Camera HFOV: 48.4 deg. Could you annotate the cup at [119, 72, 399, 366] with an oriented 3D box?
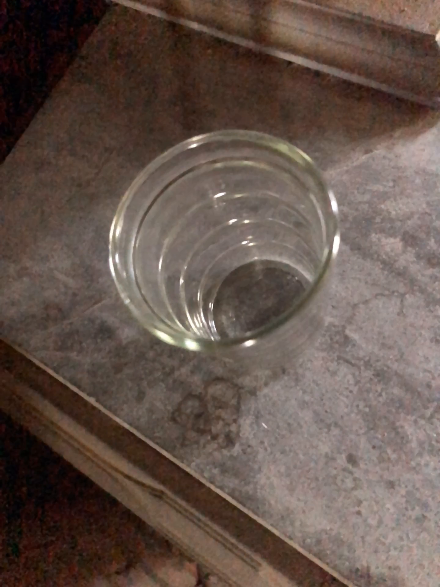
[{"bbox_3d":[0.020,-0.018,0.171,0.070,0.080,0.070,-4,74,14],"label":"cup"}]
